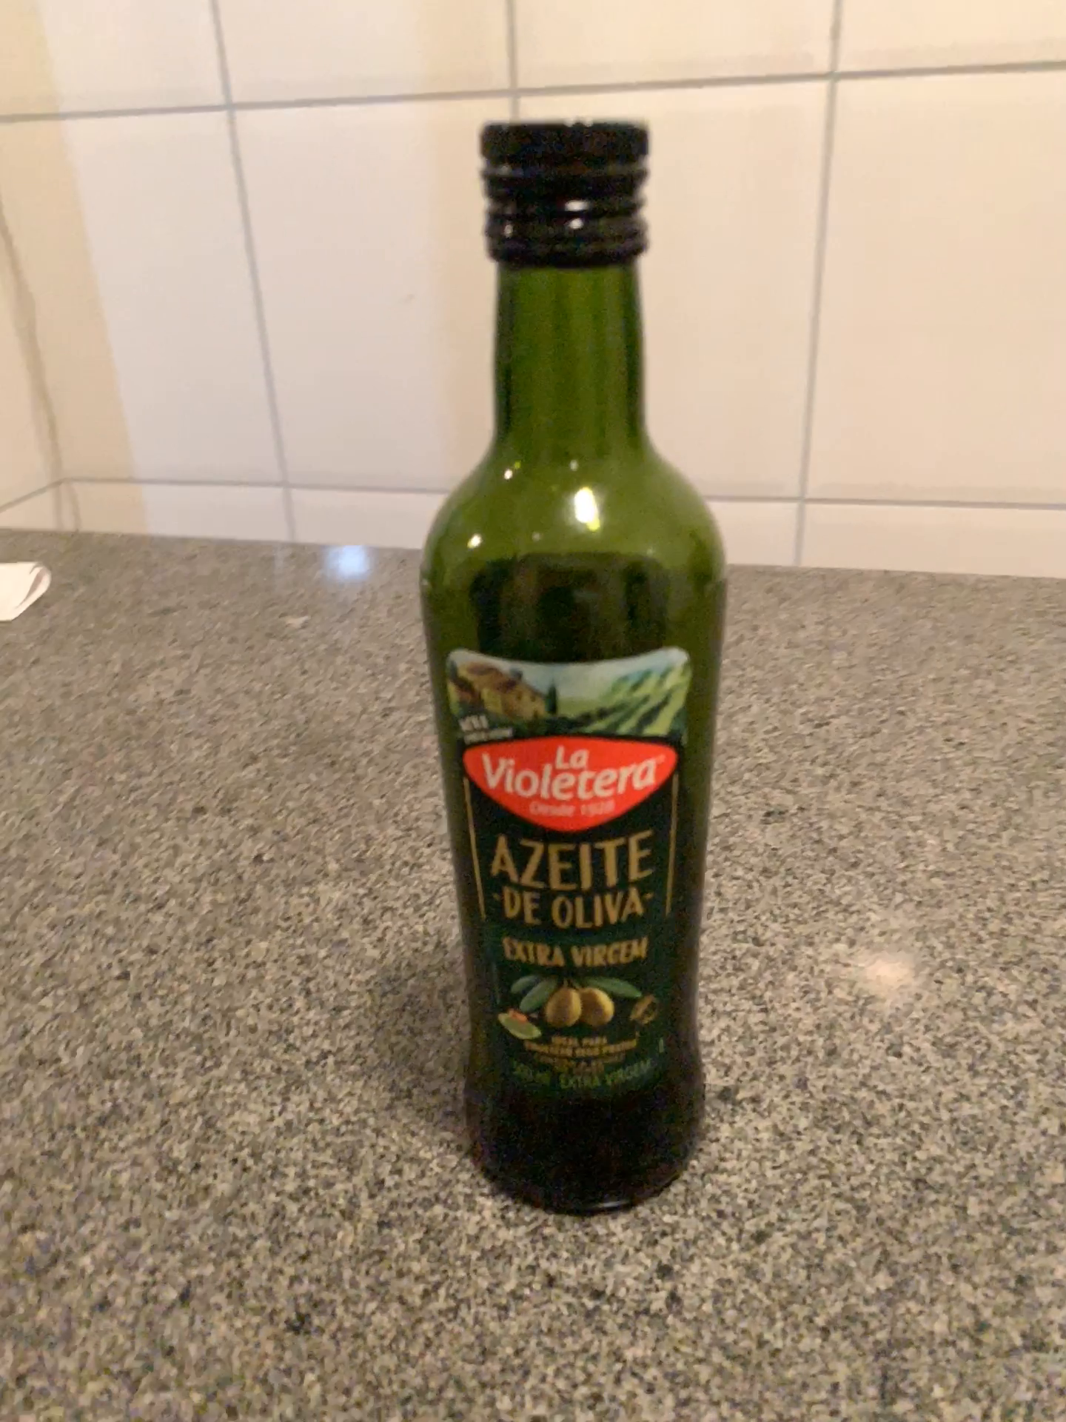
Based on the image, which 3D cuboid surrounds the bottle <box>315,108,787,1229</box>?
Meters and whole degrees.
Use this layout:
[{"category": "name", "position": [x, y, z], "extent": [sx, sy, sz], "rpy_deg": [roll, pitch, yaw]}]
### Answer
[{"category": "bottle", "position": [0.009, 0.005, 0.242], "extent": [0.070, 0.239, 0.060], "rpy_deg": [1, 27, 7]}]
